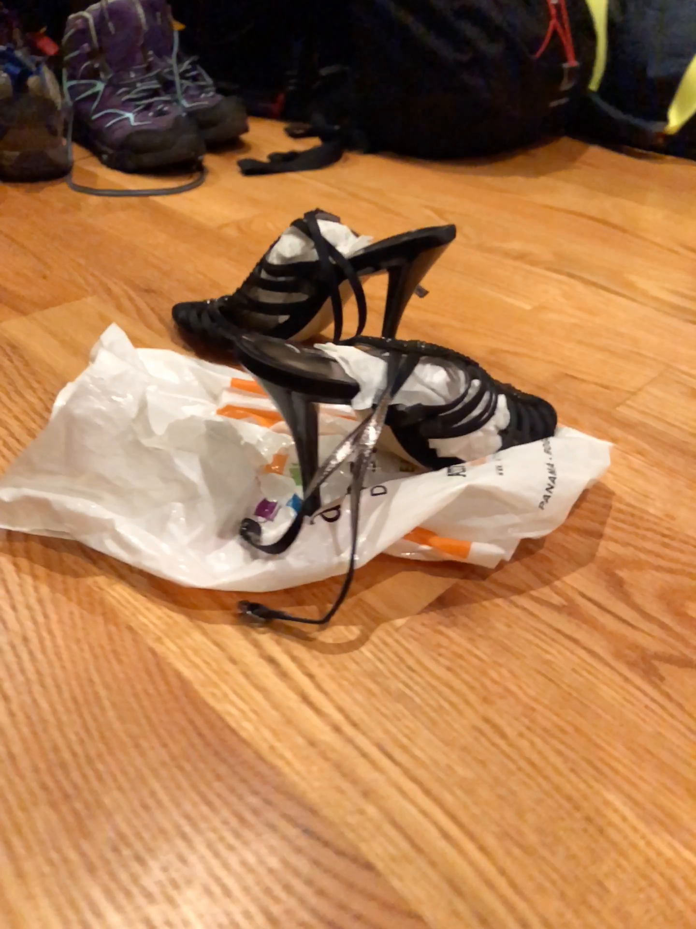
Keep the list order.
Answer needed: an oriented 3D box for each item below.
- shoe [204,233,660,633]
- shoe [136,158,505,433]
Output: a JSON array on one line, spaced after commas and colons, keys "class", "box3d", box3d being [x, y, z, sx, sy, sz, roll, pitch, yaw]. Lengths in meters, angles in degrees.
[{"class": "shoe", "box3d": [0.047, -0.030, 0.401, 0.218, 0.112, 0.092, -25, 44, -33]}, {"class": "shoe", "box3d": [-0.021, -0.121, 0.521, 0.217, 0.112, 0.091, 19, 38, 20]}]
